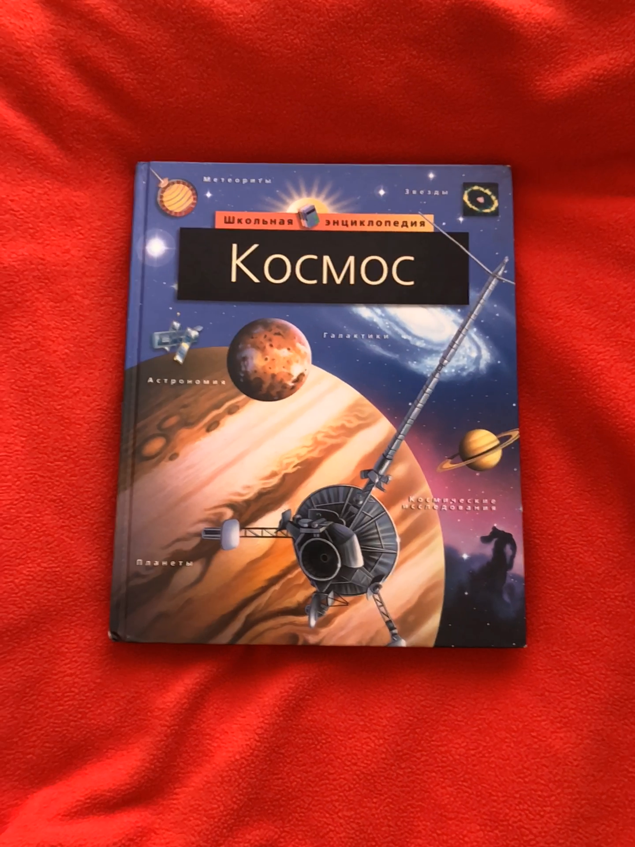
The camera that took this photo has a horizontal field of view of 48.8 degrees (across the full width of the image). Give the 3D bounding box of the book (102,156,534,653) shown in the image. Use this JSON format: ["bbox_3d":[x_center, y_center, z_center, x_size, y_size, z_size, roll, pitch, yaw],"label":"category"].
[{"bbox_3d":[0.002,-0.016,0.413,0.235,0.030,0.284,1,82,0],"label":"book"}]
